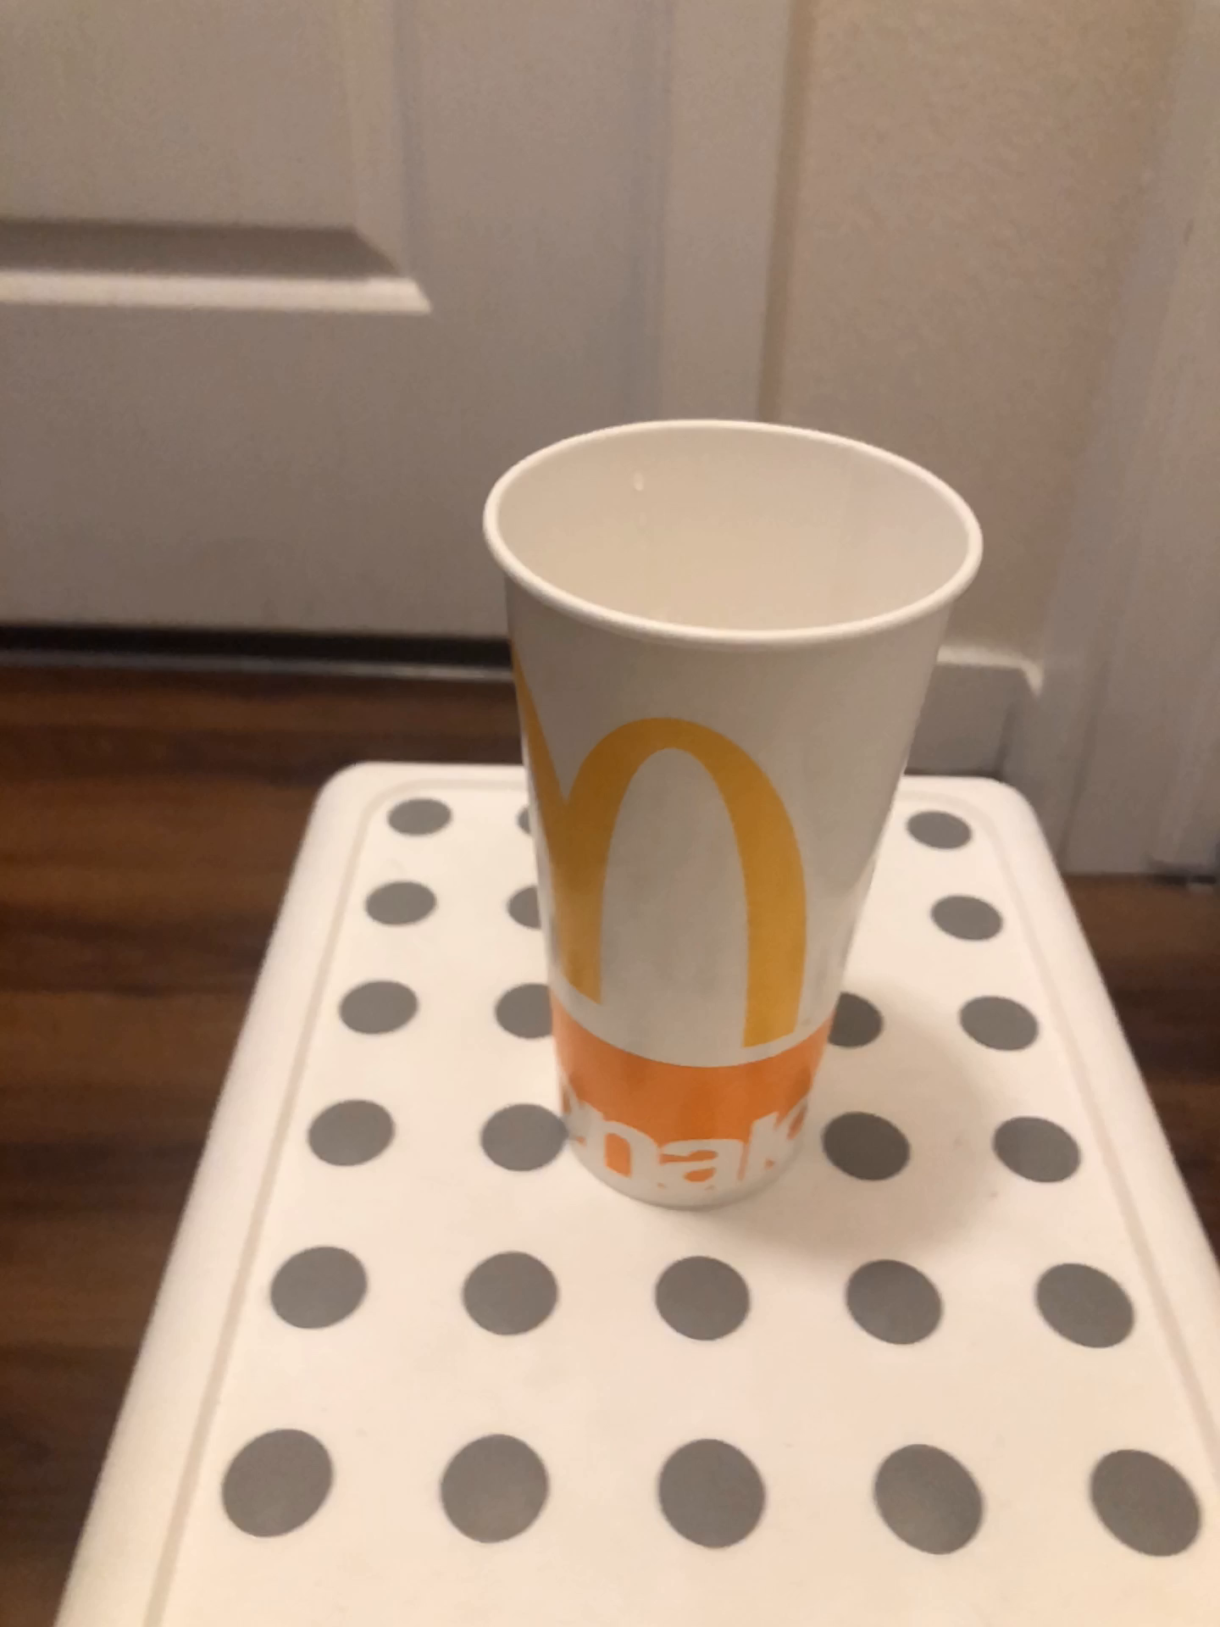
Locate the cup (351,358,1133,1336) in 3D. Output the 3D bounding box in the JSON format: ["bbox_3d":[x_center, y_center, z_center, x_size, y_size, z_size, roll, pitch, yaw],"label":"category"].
[{"bbox_3d":[0.021,0.003,0.290,0.099,0.154,0.100,0,36,0],"label":"cup"}]
